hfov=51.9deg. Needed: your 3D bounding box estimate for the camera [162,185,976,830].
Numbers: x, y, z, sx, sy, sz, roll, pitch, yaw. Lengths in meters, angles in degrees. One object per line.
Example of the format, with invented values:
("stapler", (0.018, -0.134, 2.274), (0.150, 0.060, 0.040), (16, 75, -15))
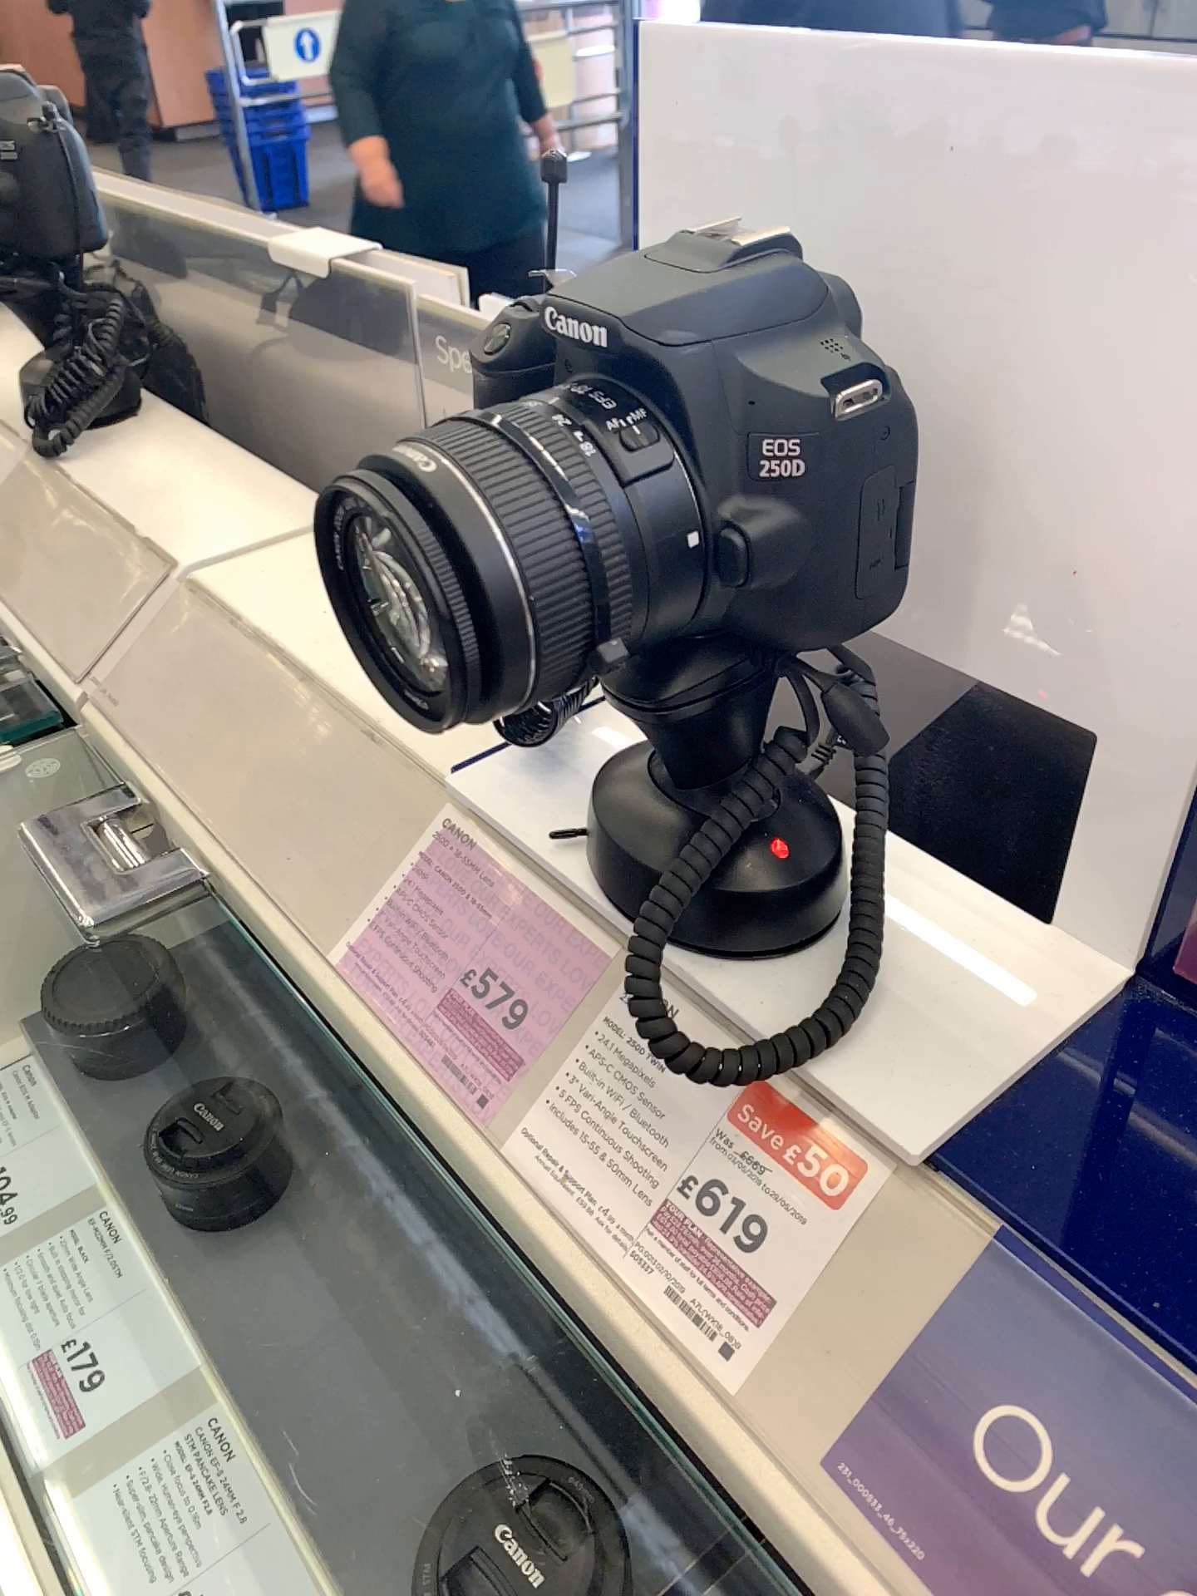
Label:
("camera", (-0.006, -0.084, 0.304), (0.141, 0.089, 0.121), (-28, 43, -30))
